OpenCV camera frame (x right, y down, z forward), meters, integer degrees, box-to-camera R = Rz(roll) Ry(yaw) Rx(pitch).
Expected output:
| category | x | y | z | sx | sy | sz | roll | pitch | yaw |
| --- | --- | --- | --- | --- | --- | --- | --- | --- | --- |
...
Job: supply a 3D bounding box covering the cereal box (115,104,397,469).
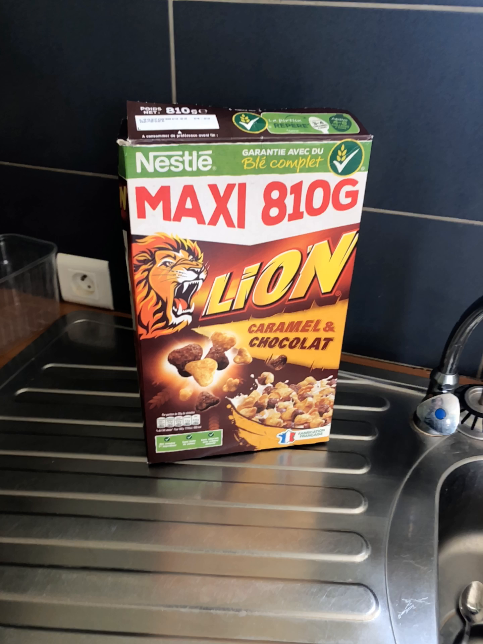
| category | x | y | z | sx | sy | sz | roll | pitch | yaw |
| --- | --- | --- | --- | --- | --- | --- | --- | --- | --- |
| cereal box | 0.002 | -0.021 | 0.486 | 0.200 | 0.318 | 0.080 | -4 | 32 | -10 |
